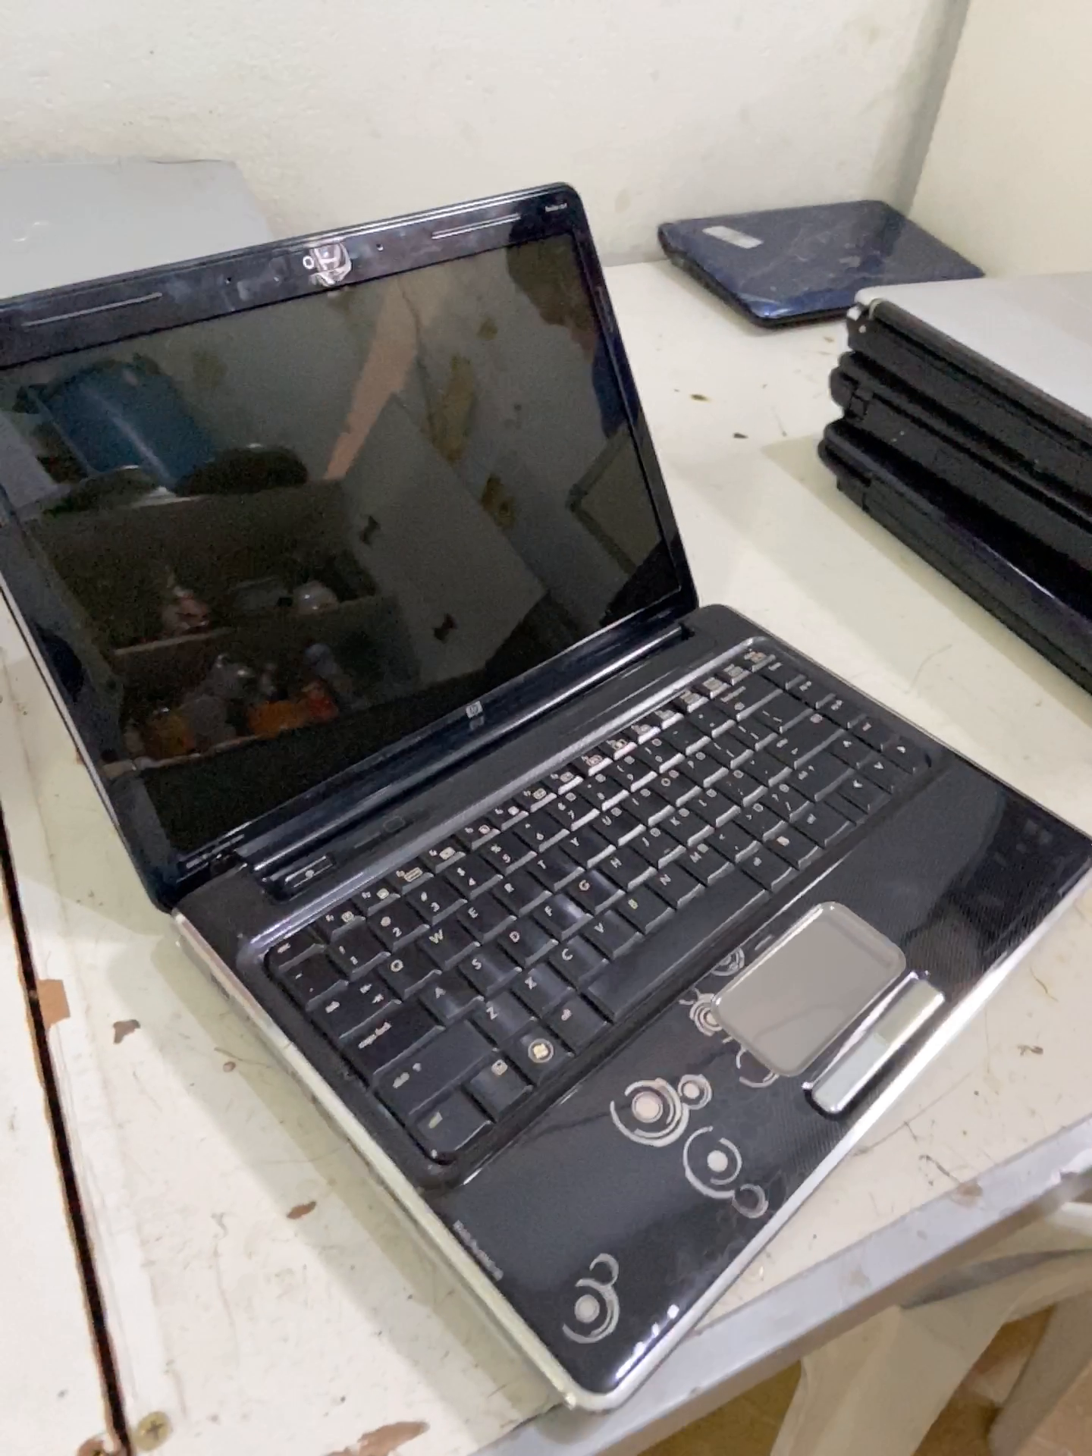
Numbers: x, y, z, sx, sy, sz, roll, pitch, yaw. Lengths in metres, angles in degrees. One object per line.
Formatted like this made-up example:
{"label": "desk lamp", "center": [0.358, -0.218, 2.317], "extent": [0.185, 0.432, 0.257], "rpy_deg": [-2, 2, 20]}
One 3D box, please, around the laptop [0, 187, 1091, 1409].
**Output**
{"label": "laptop", "center": [0.014, -0.041, 0.446], "extent": [0.332, 0.175, 0.372], "rpy_deg": [-30, 53, -33]}
